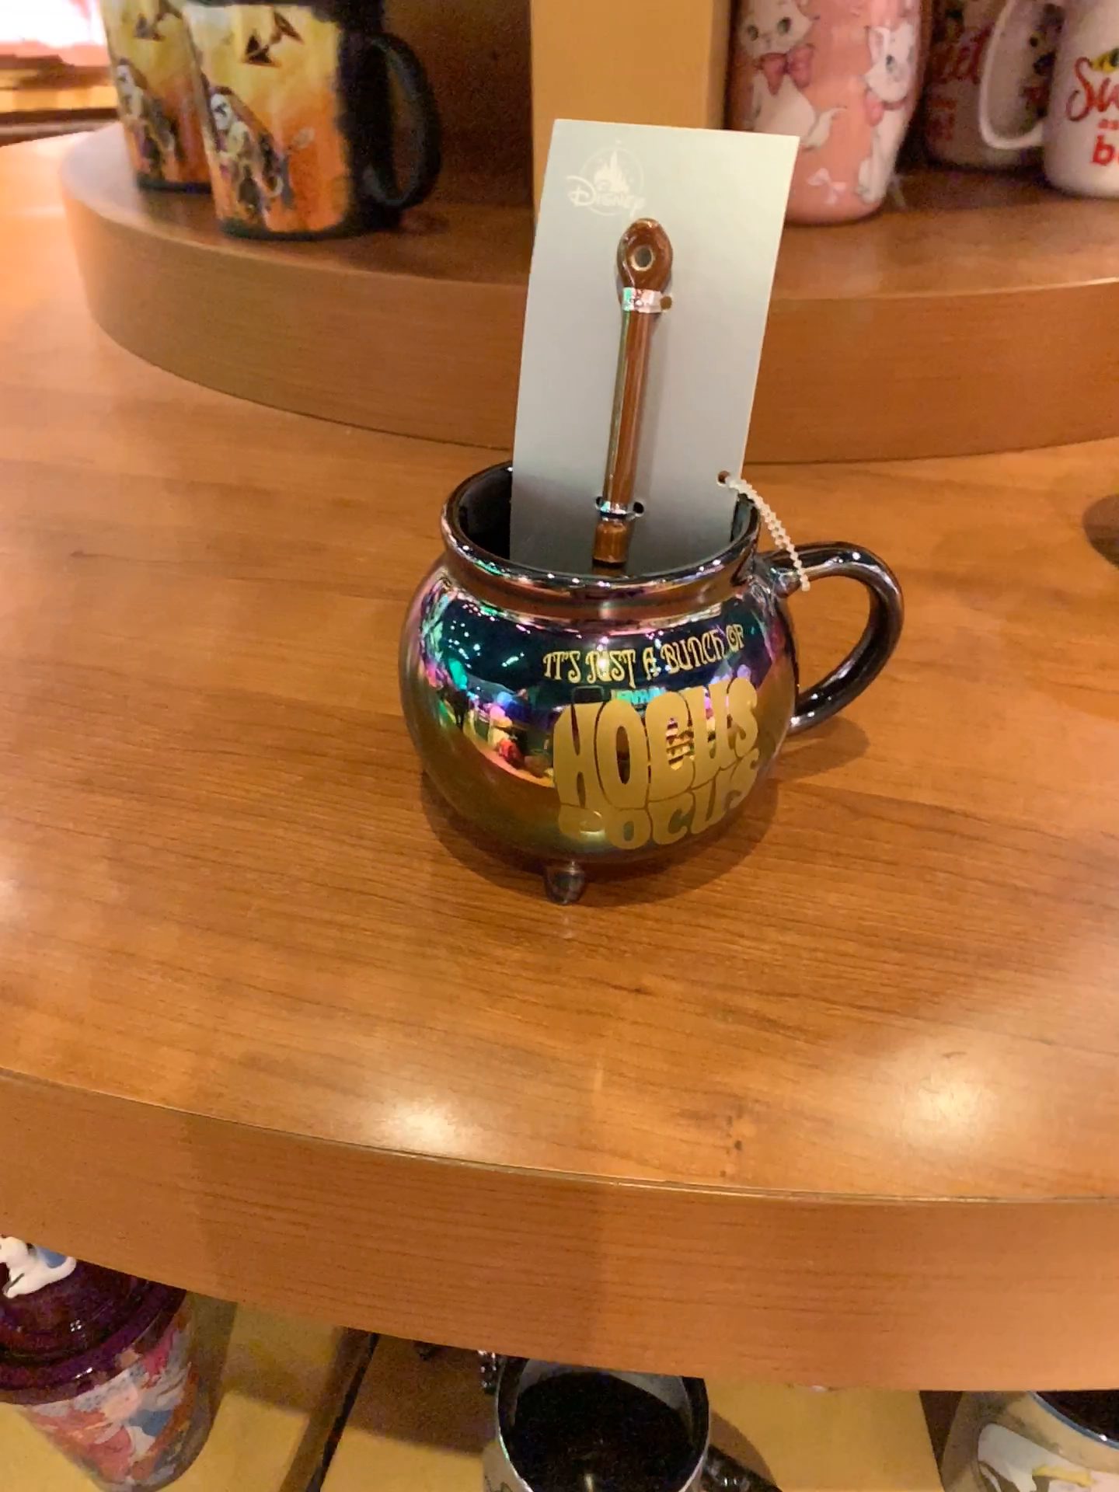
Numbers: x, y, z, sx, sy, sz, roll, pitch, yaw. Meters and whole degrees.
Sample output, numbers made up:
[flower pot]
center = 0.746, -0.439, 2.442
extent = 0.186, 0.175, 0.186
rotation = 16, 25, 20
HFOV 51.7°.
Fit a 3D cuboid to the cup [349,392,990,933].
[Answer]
[cup]
center = 0.021, -0.029, 0.316
extent = 0.136, 0.089, 0.101
rotation = -10, 37, -11
